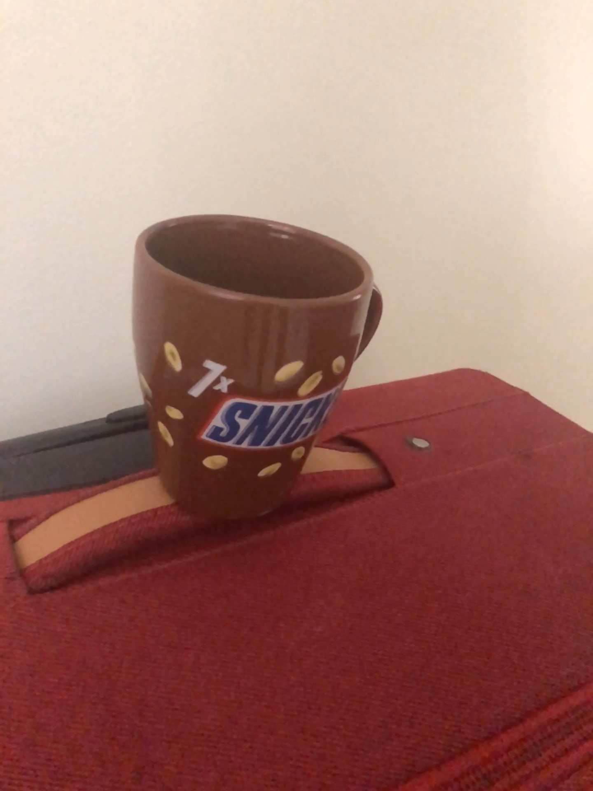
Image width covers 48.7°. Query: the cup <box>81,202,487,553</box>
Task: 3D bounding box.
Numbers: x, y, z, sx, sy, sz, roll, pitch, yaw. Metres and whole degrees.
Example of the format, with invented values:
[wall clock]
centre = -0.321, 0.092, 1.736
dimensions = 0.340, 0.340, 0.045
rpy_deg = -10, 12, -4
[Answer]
[cup]
centre = -0.009, -0.017, 0.252
dimensions = 0.115, 0.080, 0.088
rpy_deg = -16, 39, -32
